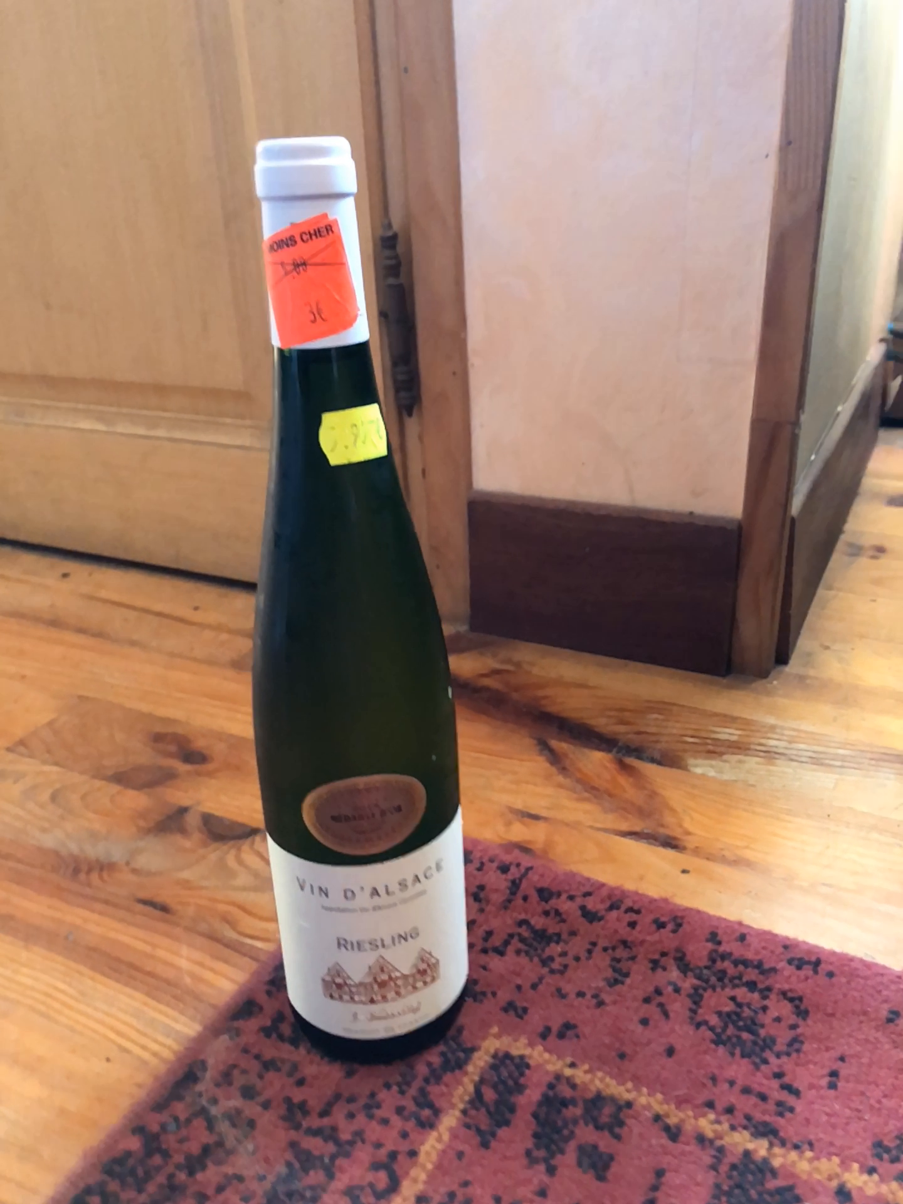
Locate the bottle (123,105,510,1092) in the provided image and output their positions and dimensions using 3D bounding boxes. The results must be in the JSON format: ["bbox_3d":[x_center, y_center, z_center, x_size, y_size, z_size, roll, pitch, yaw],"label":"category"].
[{"bbox_3d":[-0.034,0.010,0.320,0.080,0.298,0.080,-2,25,1],"label":"bottle"}]
